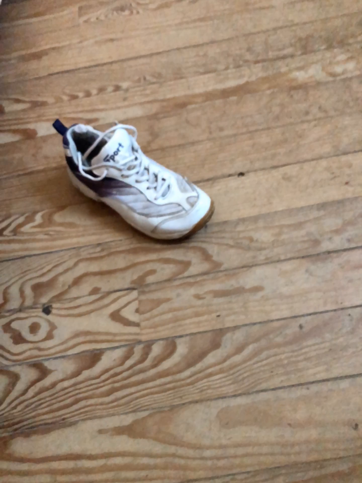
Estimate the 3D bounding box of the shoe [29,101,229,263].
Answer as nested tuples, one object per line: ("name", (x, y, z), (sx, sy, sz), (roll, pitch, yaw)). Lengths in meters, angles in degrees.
("shoe", (-0.072, -0.091, 0.590), (0.260, 0.100, 0.110), (27, 70, 20))
